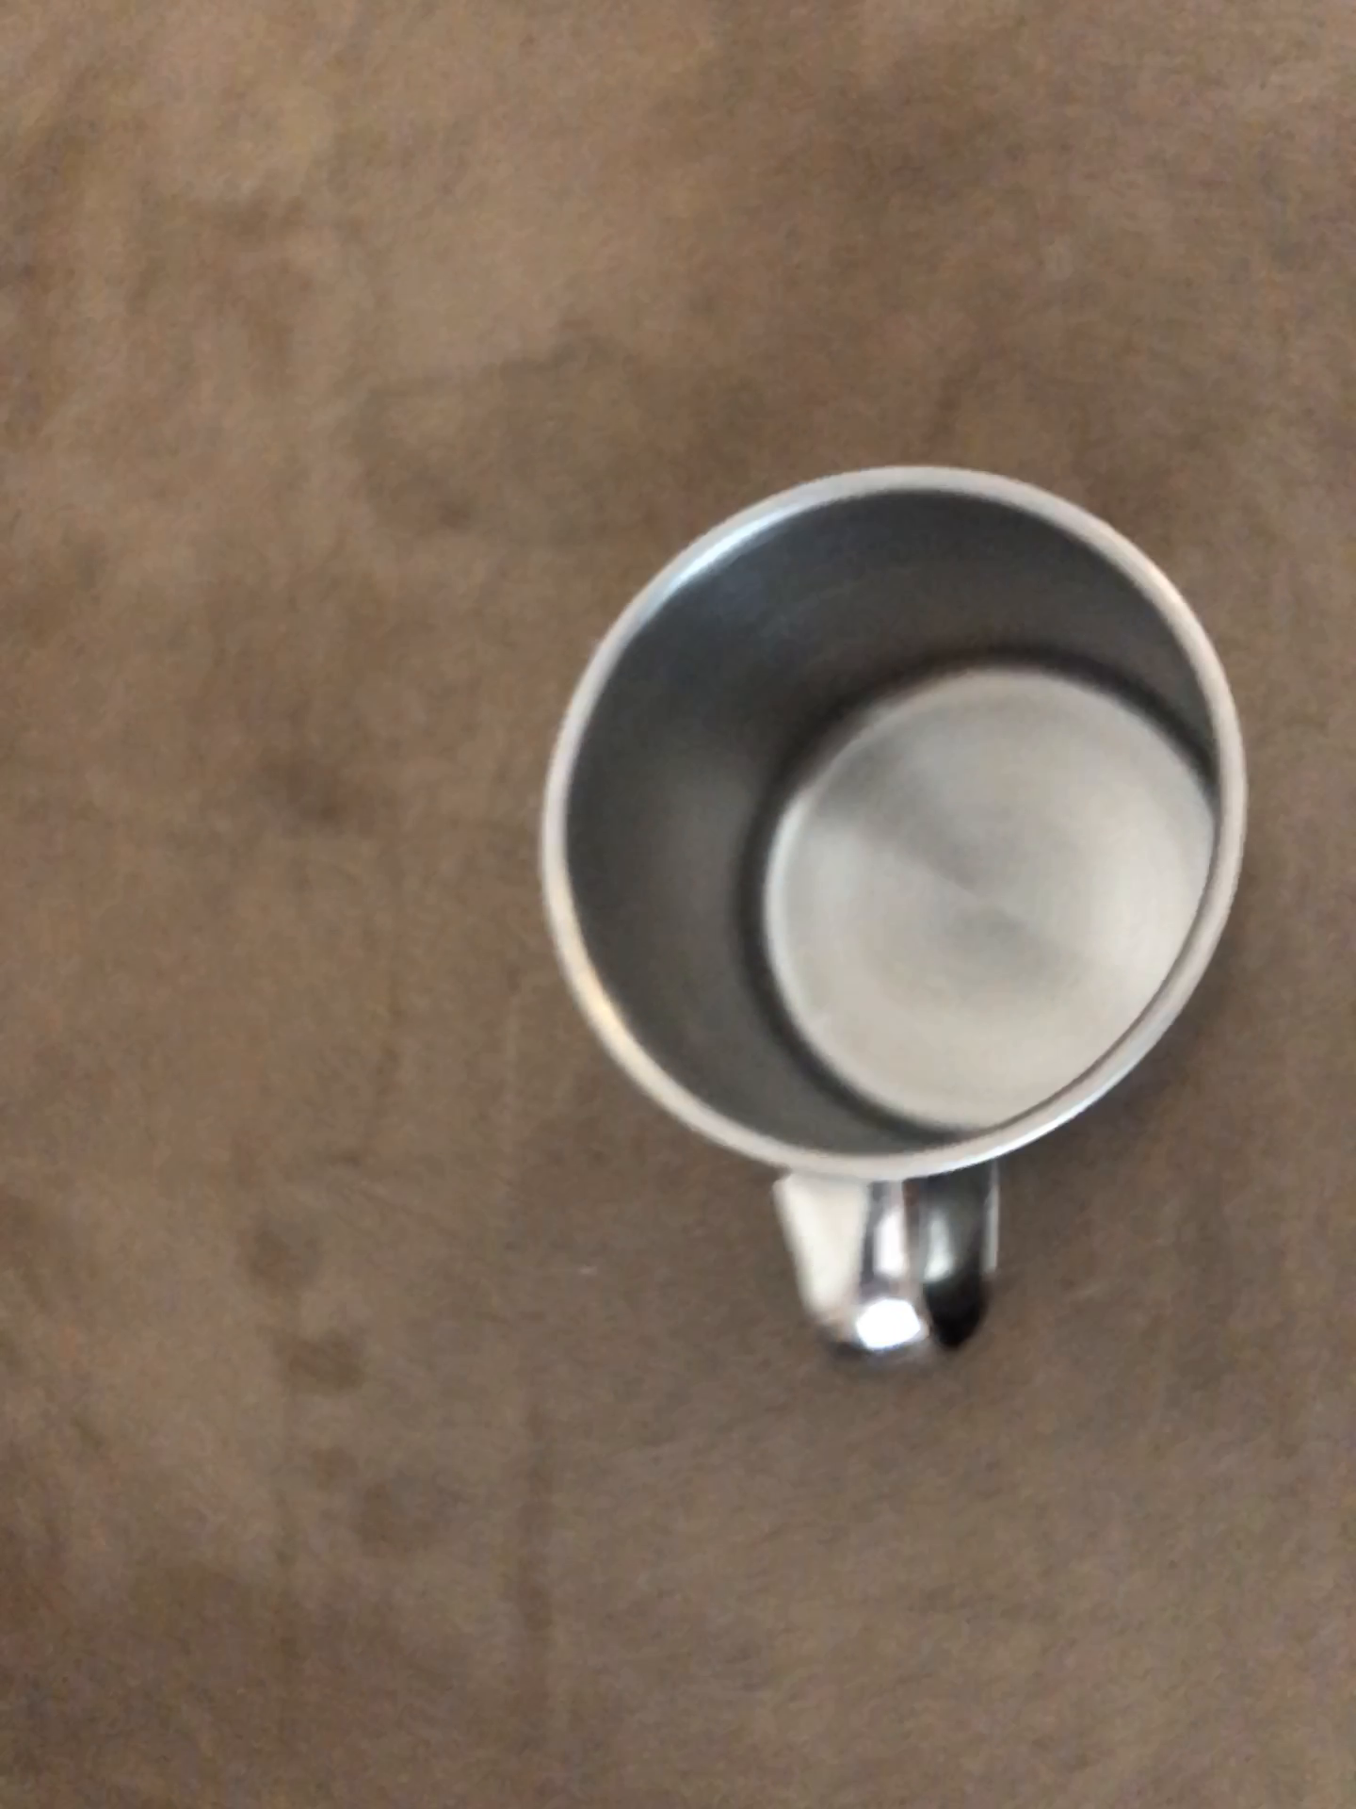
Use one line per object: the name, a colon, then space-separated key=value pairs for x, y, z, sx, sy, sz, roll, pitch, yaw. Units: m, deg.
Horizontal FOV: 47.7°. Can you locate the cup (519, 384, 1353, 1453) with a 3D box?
cup: x=0.036 y=0.007 z=0.206 sx=0.090 sy=0.070 sz=0.110 roll=-6 pitch=80 yaw=24
